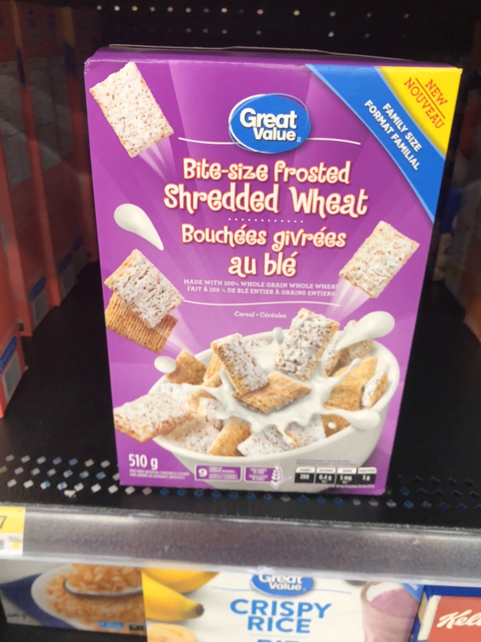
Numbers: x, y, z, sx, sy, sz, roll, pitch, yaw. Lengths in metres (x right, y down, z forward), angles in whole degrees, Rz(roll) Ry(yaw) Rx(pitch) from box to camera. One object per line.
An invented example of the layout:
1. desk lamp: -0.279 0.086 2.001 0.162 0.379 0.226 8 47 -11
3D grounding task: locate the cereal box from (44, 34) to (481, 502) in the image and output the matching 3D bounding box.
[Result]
1. cereal box: 0.009 -0.021 0.346 0.210 0.279 0.070 2 25 1
